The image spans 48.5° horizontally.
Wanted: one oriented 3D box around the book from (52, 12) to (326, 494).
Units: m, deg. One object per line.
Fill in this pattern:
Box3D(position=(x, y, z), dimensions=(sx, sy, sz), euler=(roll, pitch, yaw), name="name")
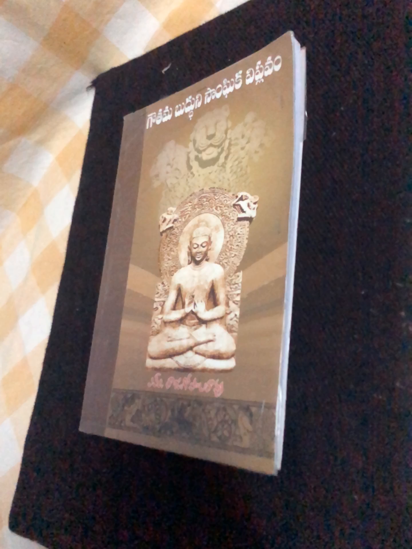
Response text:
Box3D(position=(-0.011, -0.017, 0.258), dimensions=(0.150, 0.020, 0.230), euler=(-7, 69, 38), name="book")
